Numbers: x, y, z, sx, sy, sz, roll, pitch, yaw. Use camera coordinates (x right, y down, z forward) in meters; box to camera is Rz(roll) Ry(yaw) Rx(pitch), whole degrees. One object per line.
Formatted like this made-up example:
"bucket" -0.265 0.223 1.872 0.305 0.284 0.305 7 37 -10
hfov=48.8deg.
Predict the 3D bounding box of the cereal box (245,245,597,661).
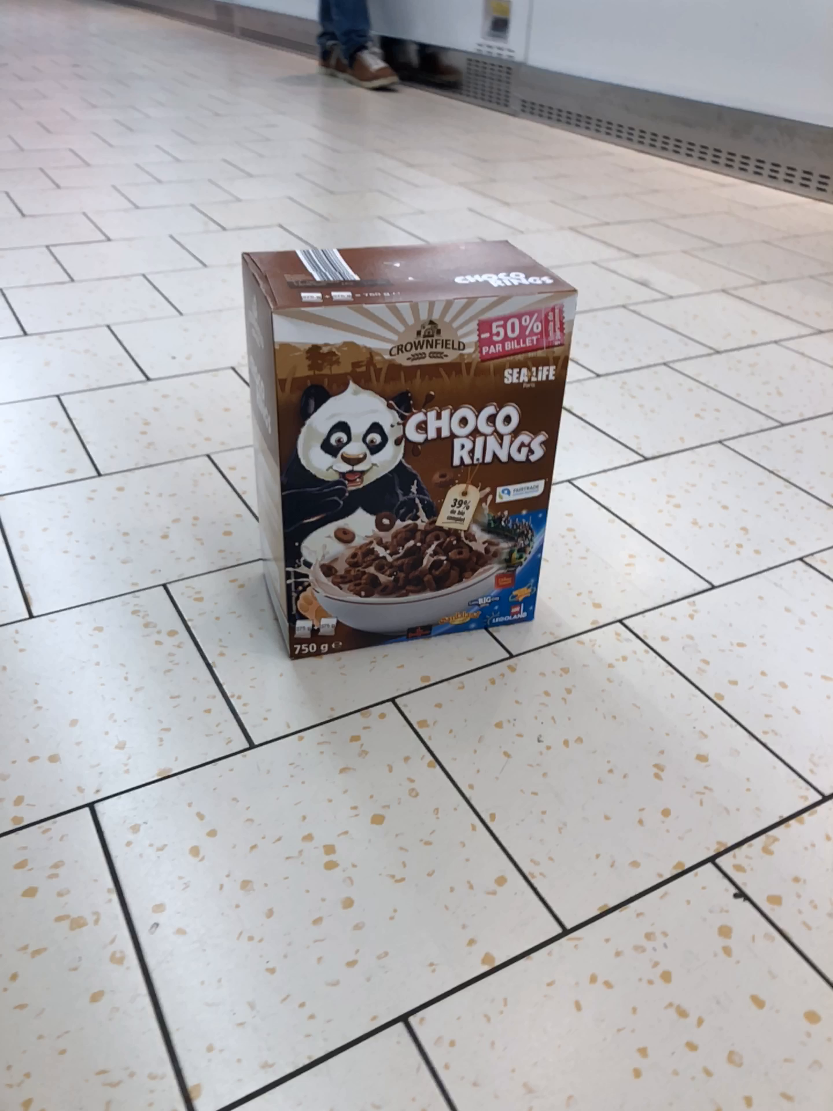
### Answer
"cereal box" -0.007 -0.077 0.661 0.200 0.248 0.131 -7 34 -15
